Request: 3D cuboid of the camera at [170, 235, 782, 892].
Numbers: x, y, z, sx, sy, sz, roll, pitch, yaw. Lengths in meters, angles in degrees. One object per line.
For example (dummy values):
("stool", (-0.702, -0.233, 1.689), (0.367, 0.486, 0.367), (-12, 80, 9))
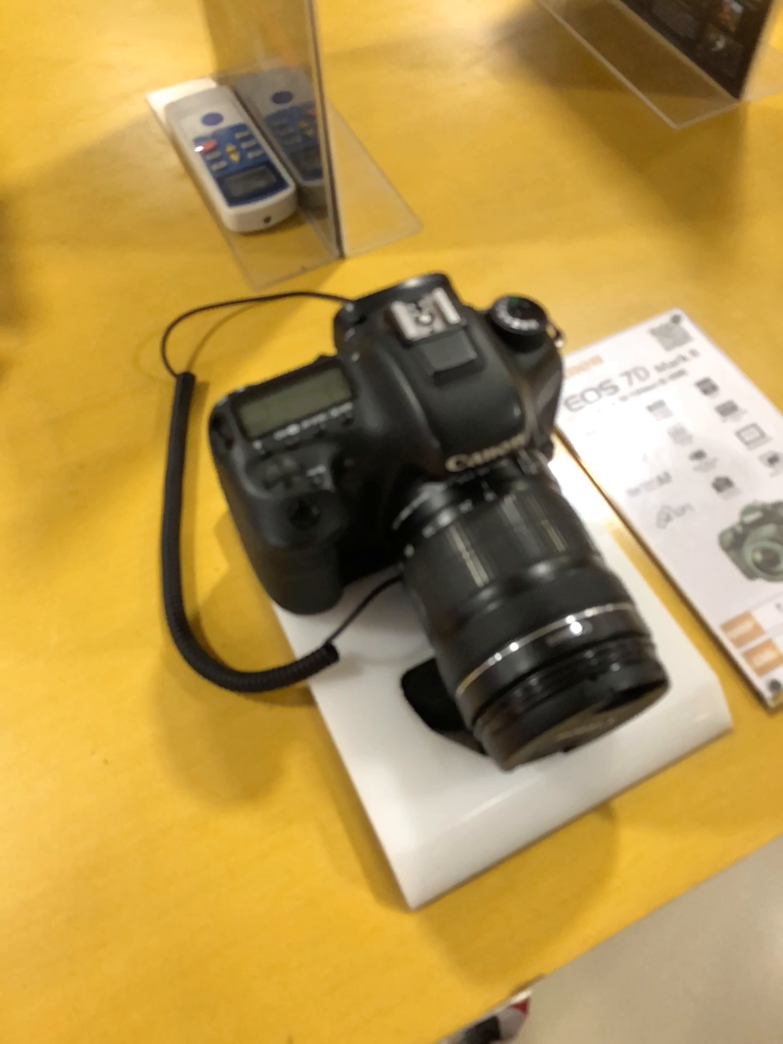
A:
("camera", (0.022, 0.011, 0.307), (0.130, 0.110, 0.171), (-23, 60, -13))
